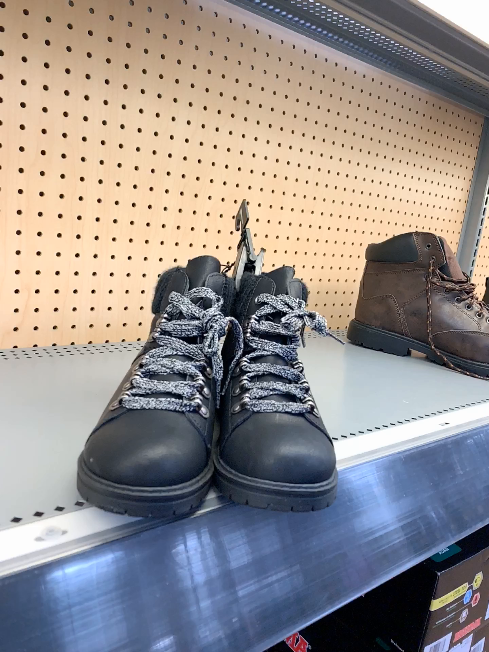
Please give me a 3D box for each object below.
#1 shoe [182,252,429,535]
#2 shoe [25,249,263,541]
[{"bbox_3d":[0.021,0.029,0.395,0.105,0.137,0.231,4,13,-14],"label":"shoe"},{"bbox_3d":[-0.055,0.023,0.388,0.104,0.137,0.236,9,13,5],"label":"shoe"}]
